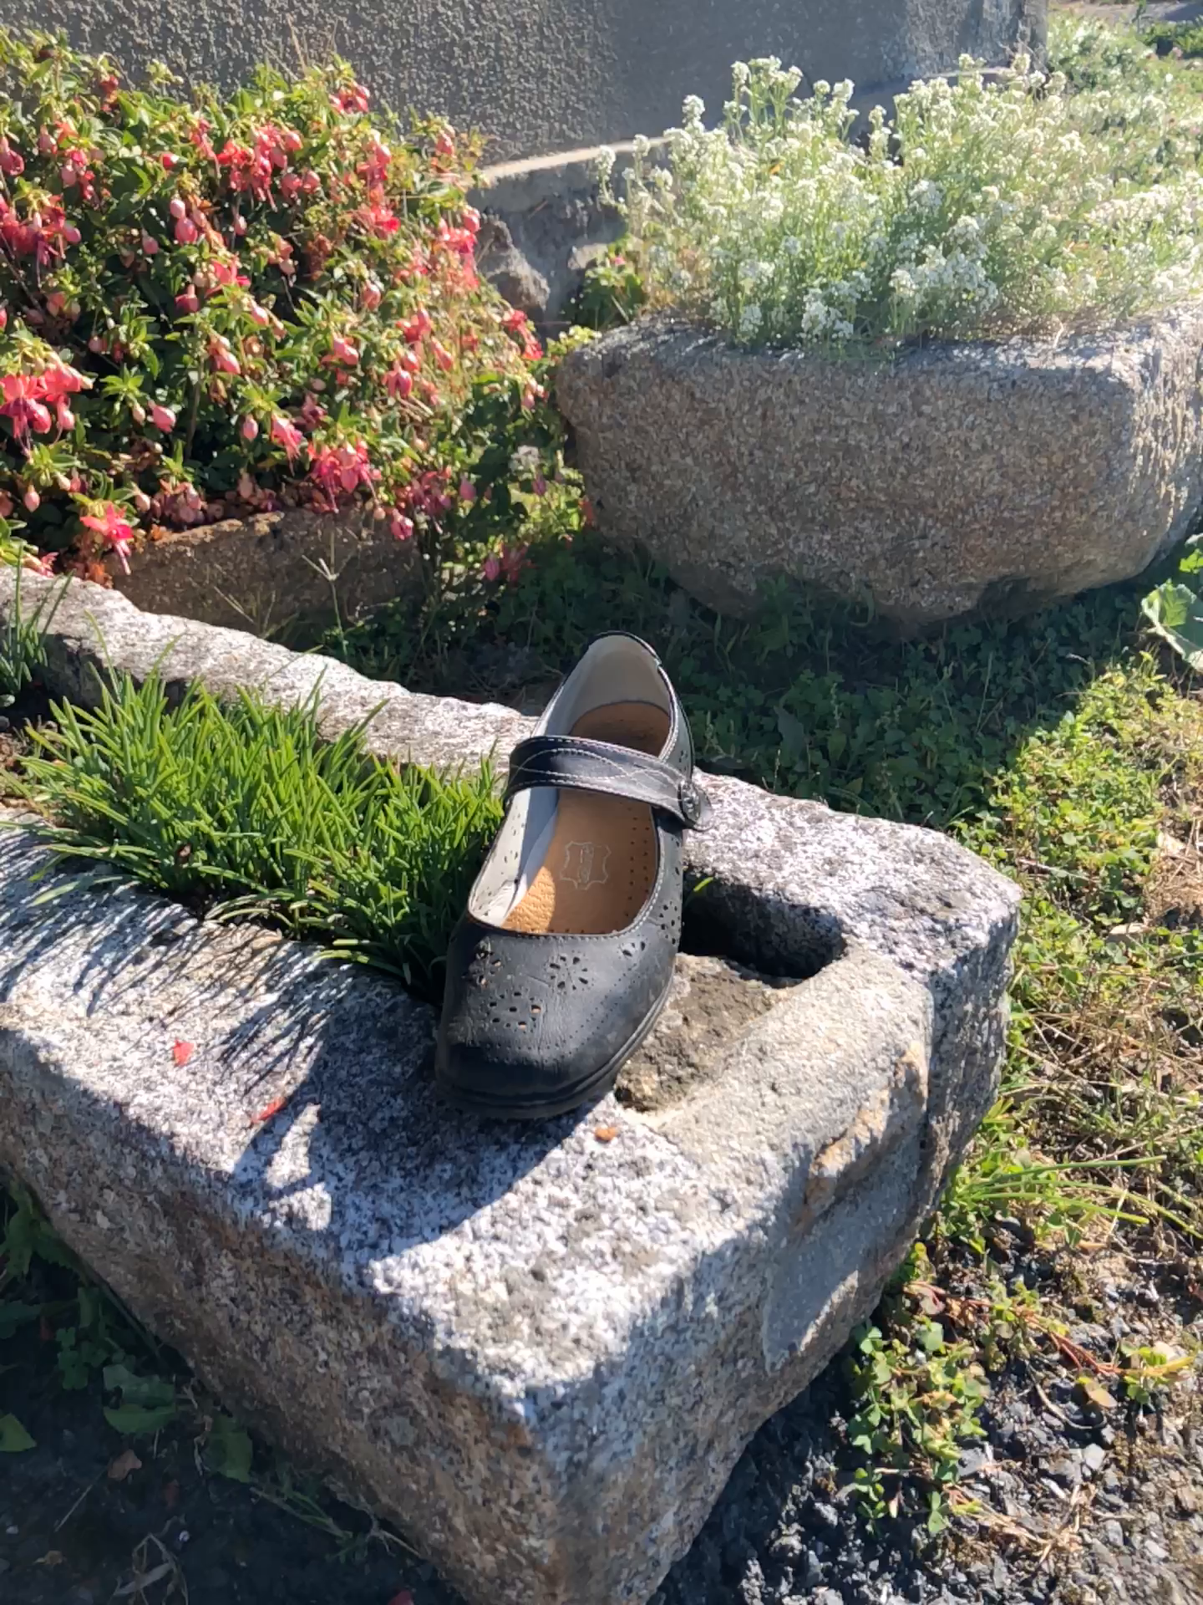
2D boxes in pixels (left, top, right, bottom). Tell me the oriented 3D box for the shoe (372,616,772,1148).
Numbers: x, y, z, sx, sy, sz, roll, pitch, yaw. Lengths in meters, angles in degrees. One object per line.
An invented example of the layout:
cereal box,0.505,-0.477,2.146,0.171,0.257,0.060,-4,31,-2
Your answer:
shoe,0.005,0.016,0.568,0.100,0.099,0.252,2,31,15
